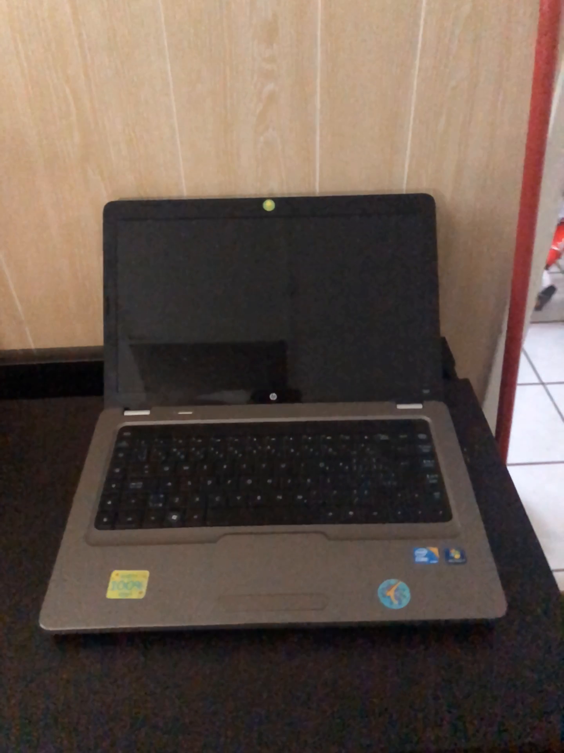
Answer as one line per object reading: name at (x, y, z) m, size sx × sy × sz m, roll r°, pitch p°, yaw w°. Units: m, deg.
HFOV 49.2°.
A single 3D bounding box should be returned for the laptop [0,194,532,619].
laptop at (-0.021, -0.008, 0.600) m, size 0.363 × 0.154 × 0.421 m, roll -1°, pitch 41°, yaw 1°
